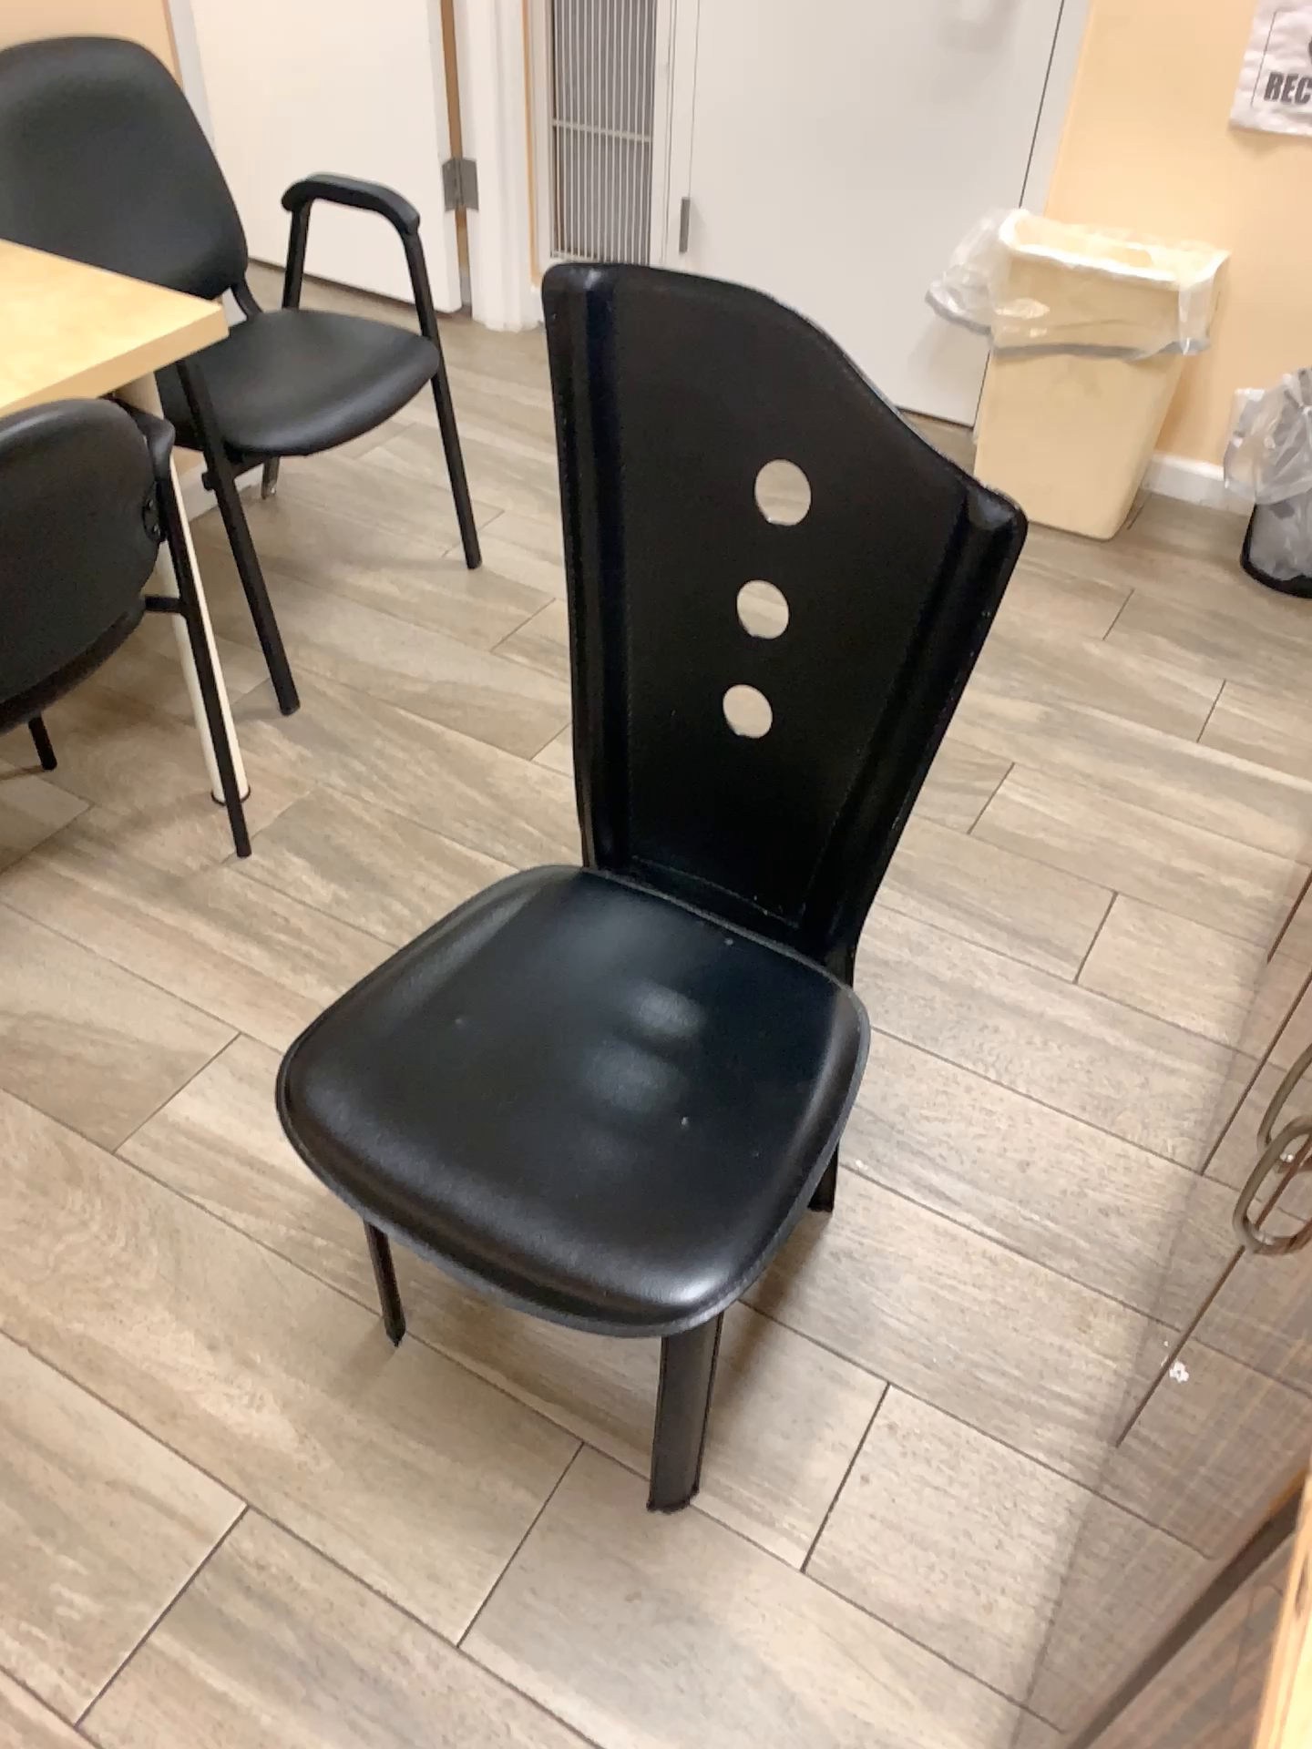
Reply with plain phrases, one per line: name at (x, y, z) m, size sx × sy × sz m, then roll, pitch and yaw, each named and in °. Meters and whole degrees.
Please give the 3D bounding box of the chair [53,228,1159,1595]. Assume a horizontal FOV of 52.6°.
chair at (-0.018, 0.077, 1.095) m, size 0.462 × 0.941 × 0.475 m, roll 24°, pitch 47°, yaw 20°
